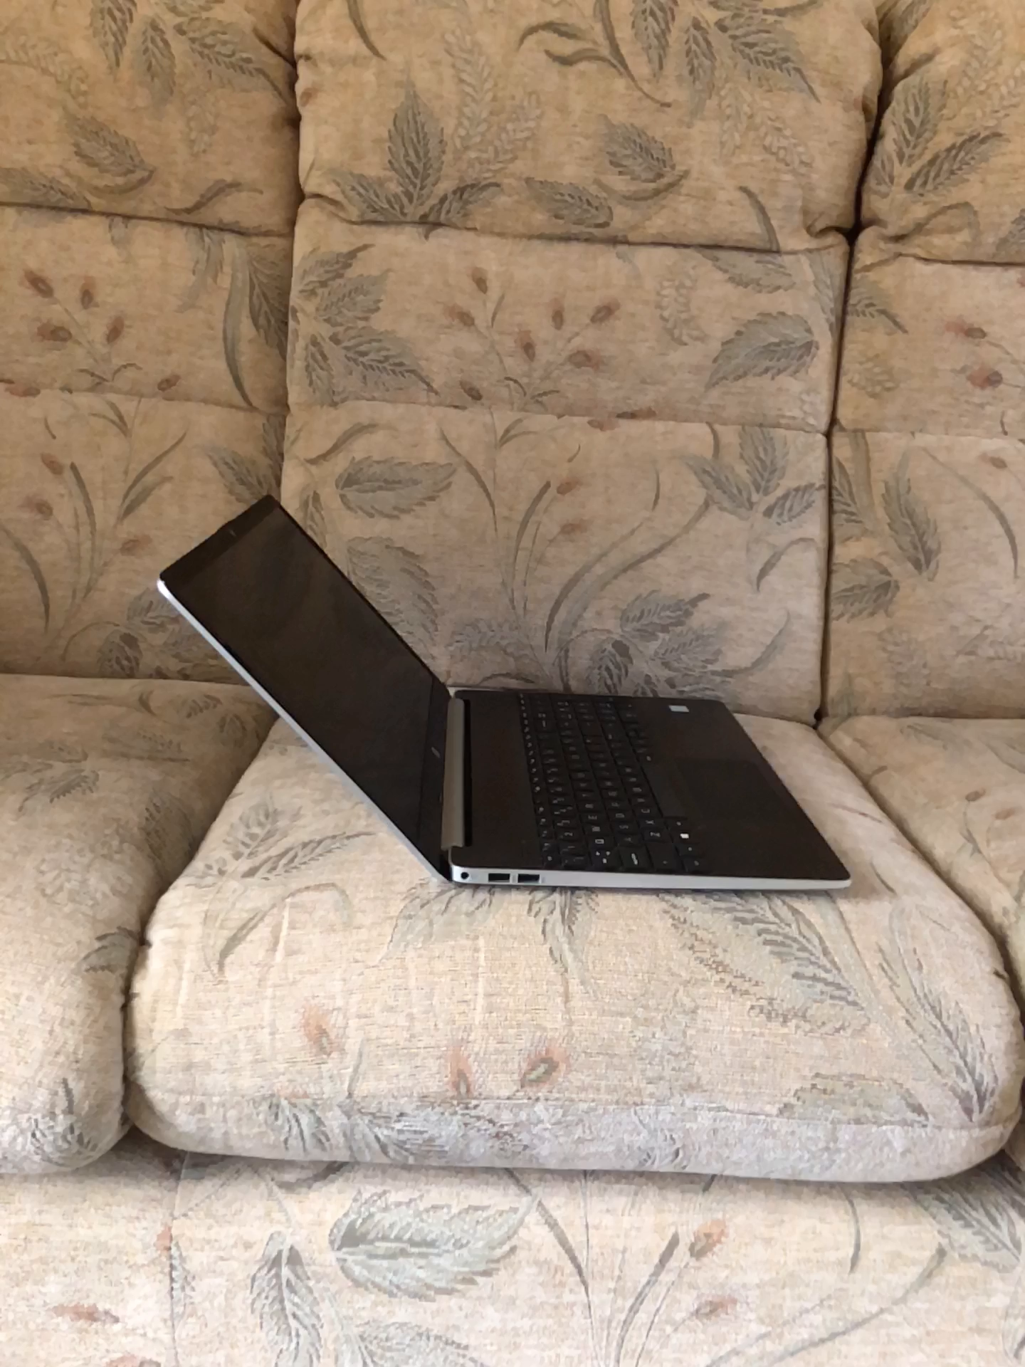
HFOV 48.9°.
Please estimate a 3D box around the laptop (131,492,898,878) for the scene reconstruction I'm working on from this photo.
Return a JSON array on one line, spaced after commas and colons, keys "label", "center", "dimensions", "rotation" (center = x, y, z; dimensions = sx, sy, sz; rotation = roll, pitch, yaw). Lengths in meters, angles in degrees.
[{"label": "laptop", "center": [-0.002, -0.018, 0.777], "dimensions": [0.397, 0.163, 0.340], "rotation": [2, 18, -4]}]
